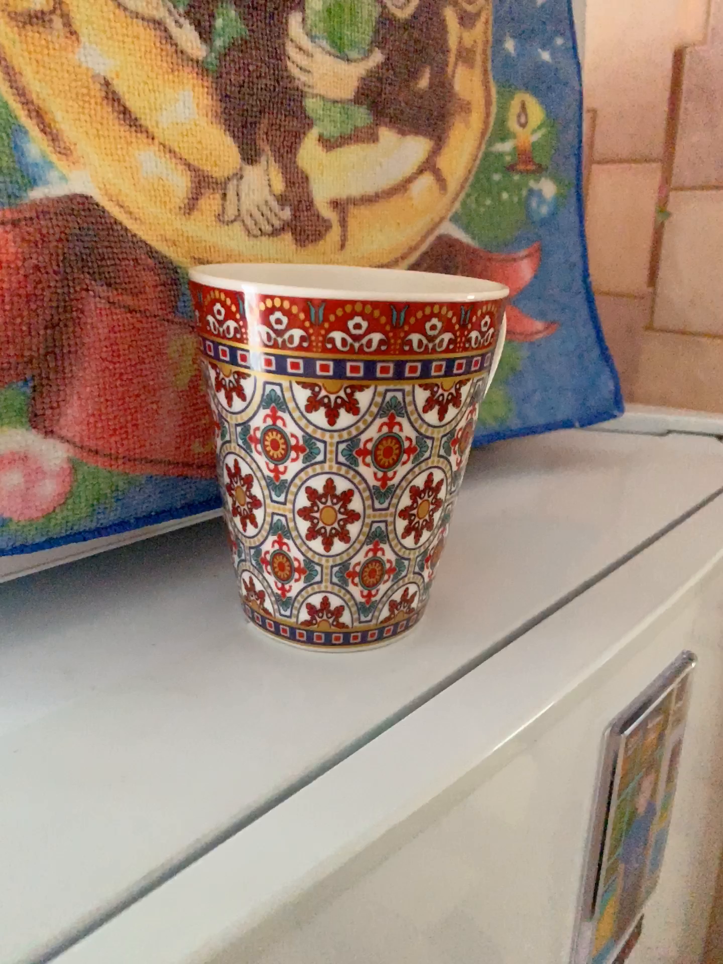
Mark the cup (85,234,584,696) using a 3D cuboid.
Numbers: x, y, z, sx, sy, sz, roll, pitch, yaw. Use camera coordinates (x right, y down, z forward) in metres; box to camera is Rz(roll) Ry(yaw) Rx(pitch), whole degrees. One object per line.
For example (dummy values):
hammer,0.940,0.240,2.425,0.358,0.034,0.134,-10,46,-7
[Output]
cup,-0.001,-0.022,0.236,0.089,0.101,0.125,13,21,33
